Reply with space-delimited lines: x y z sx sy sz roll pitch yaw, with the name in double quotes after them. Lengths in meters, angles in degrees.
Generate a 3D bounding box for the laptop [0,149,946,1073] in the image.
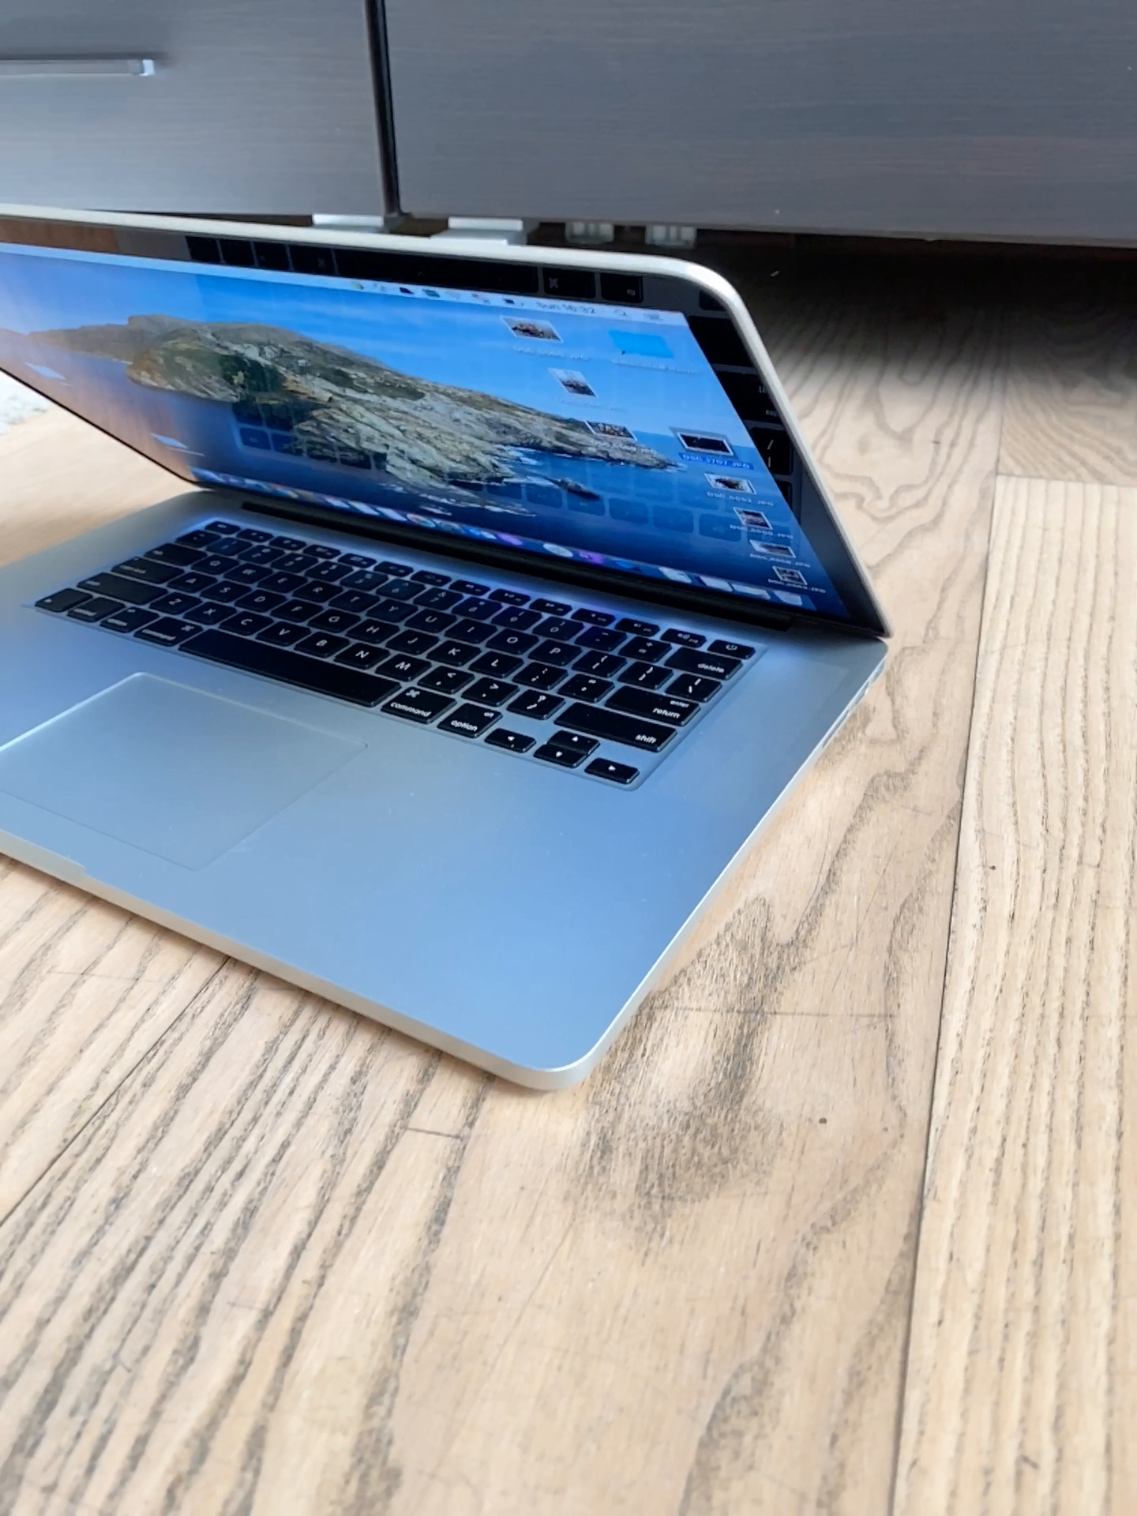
-0.100 -0.097 0.391 0.362 0.157 0.236 17 37 25 "laptop"
